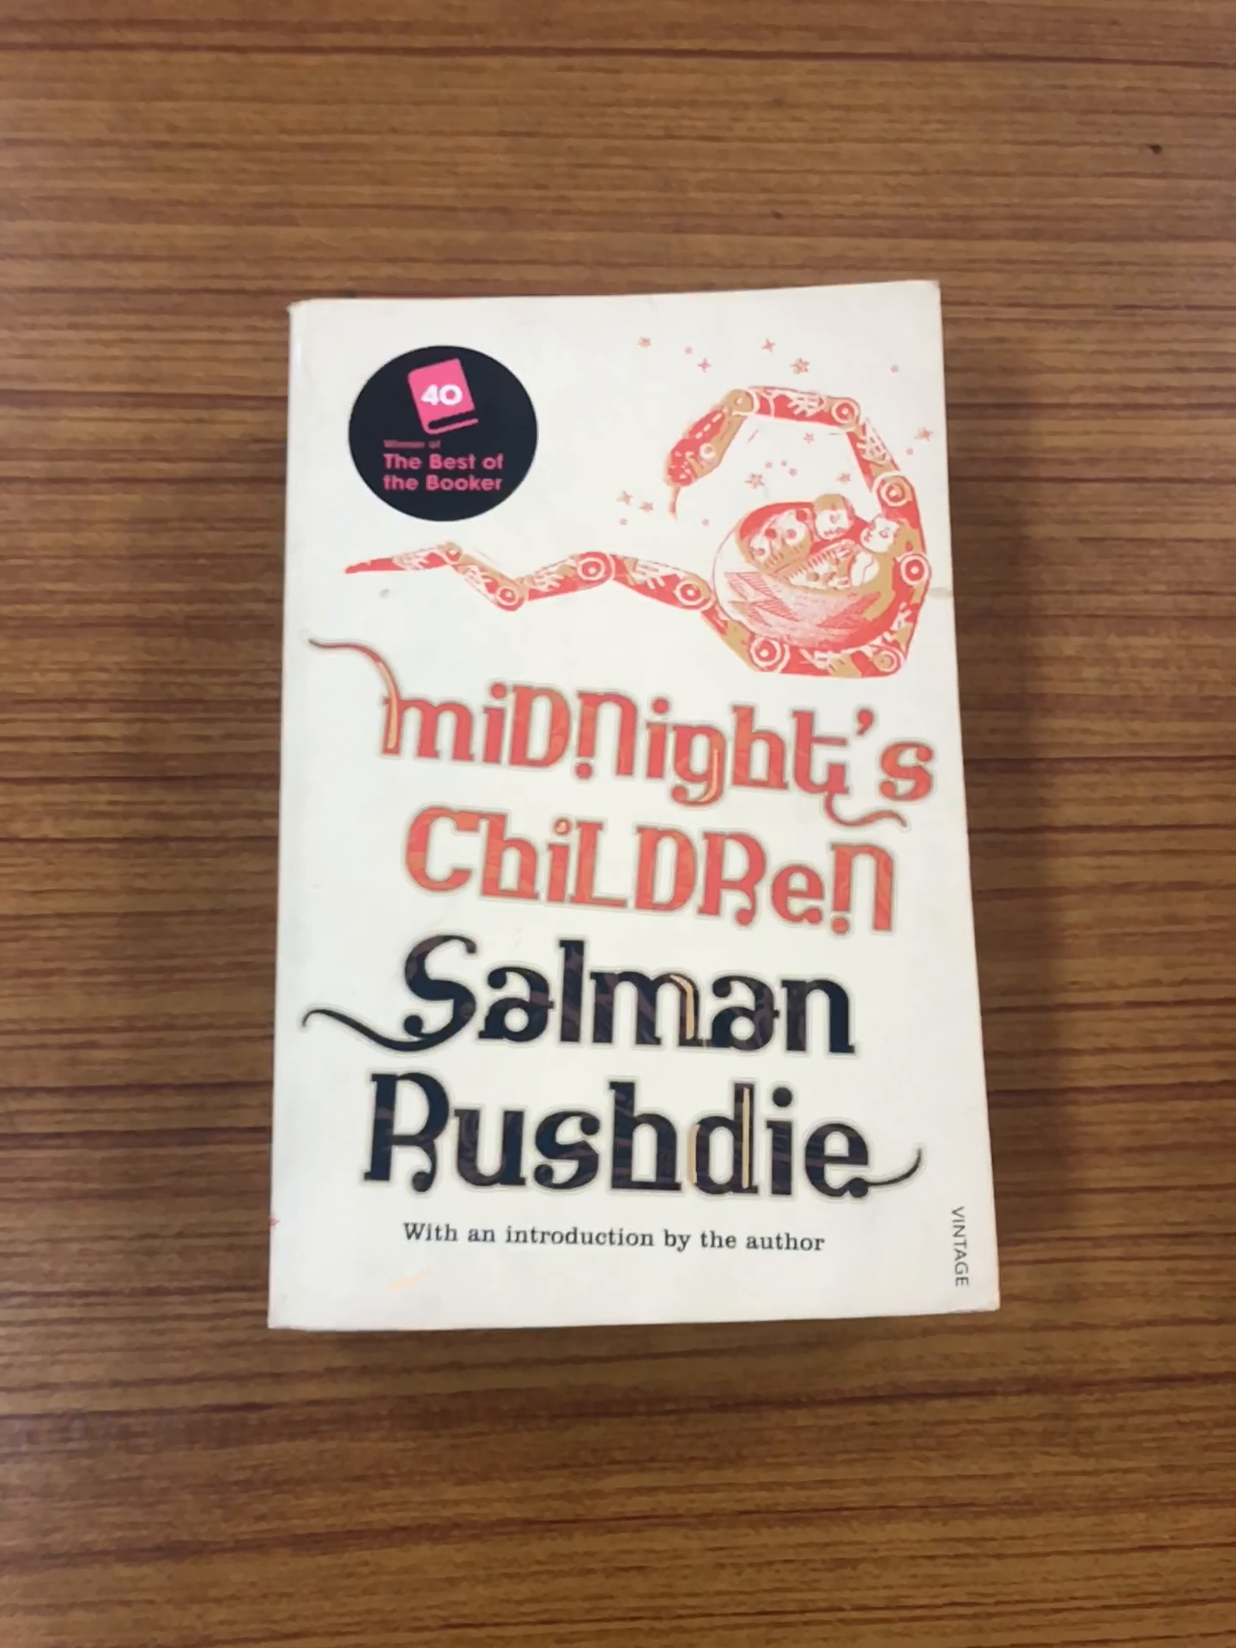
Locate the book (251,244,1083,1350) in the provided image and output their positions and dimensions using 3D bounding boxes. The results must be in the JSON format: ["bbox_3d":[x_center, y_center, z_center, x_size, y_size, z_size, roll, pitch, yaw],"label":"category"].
[{"bbox_3d":[0.005,-0.008,0.271,0.140,0.040,0.200,-2,80,0],"label":"book"}]
